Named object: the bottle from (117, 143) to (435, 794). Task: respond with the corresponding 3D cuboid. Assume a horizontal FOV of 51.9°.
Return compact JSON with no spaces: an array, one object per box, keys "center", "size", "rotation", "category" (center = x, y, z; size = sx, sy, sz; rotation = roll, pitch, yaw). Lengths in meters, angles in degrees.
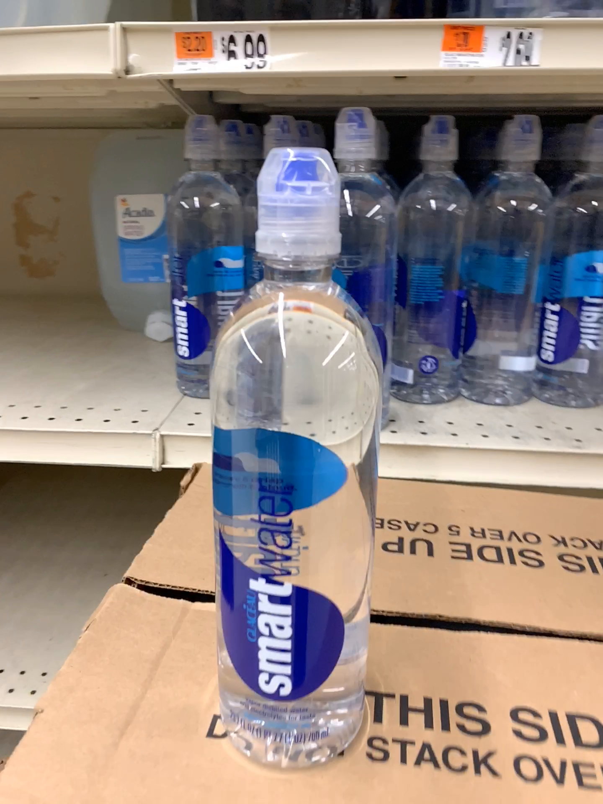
[{"center":[-0.001,0.026,0.261],"size":[0.090,0.249,0.090],"rotation":[0,22,0],"category":"bottle"}]
